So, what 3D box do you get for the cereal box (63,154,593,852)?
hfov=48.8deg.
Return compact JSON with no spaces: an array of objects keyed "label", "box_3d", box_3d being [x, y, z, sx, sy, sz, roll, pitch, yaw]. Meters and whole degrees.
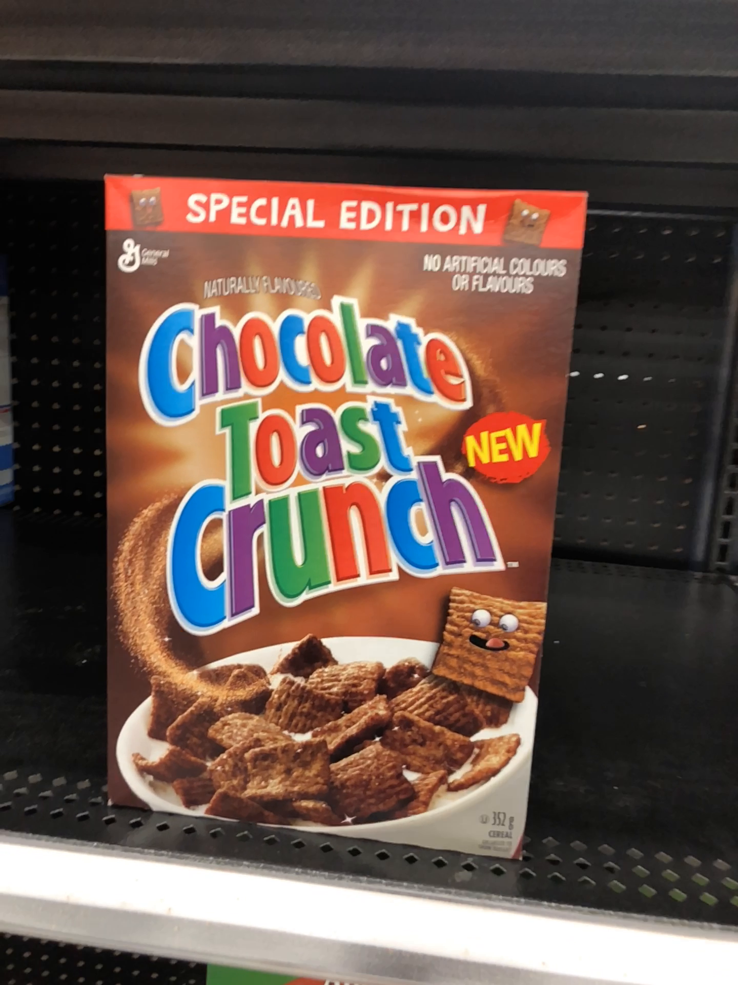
[{"label":"cereal box","box_3d":[-0.023,0.005,0.351,0.200,0.269,0.050,5,11,7]}]
